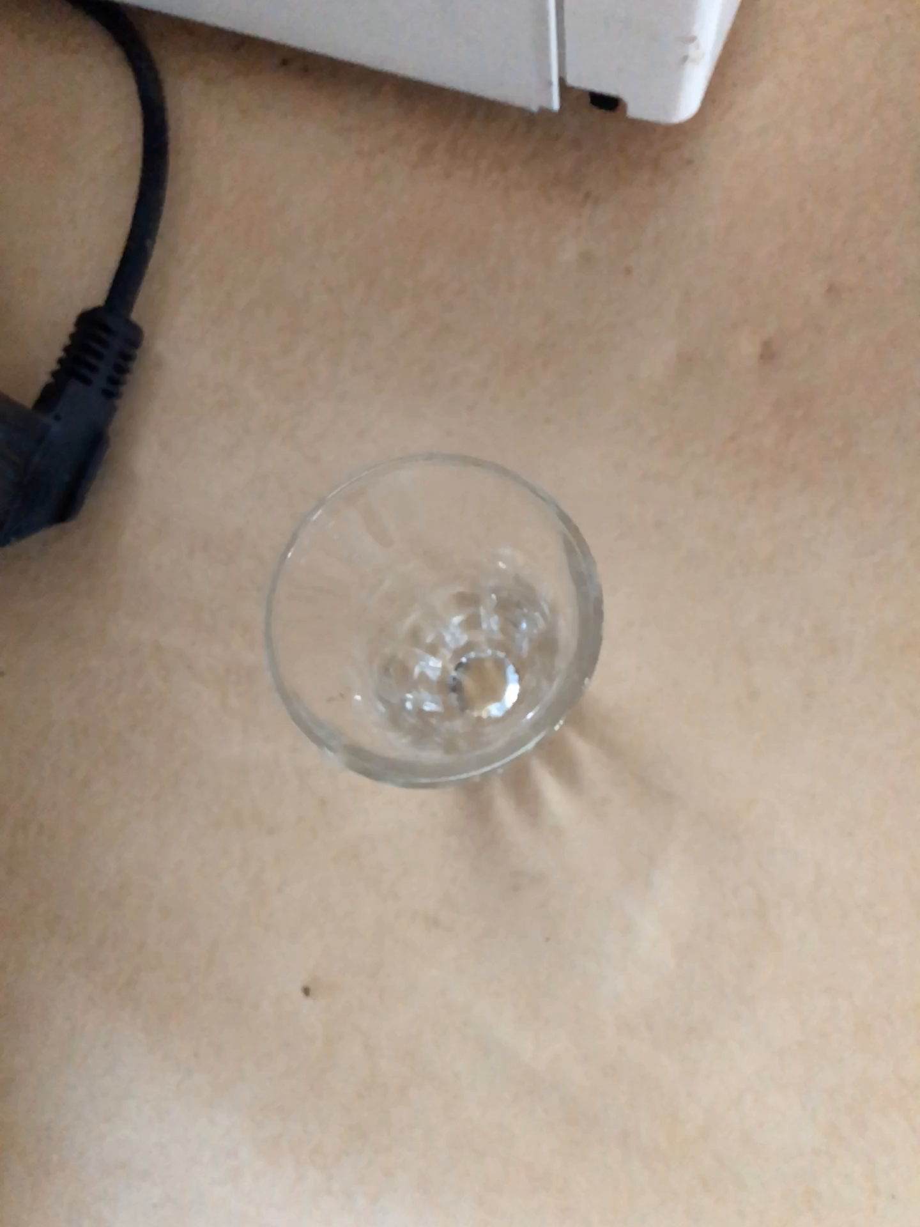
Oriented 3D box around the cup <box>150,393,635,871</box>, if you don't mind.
[{"bbox_3d":[-0.006,0.009,0.181,0.050,0.070,0.050,-2,76,7],"label":"cup"}]
